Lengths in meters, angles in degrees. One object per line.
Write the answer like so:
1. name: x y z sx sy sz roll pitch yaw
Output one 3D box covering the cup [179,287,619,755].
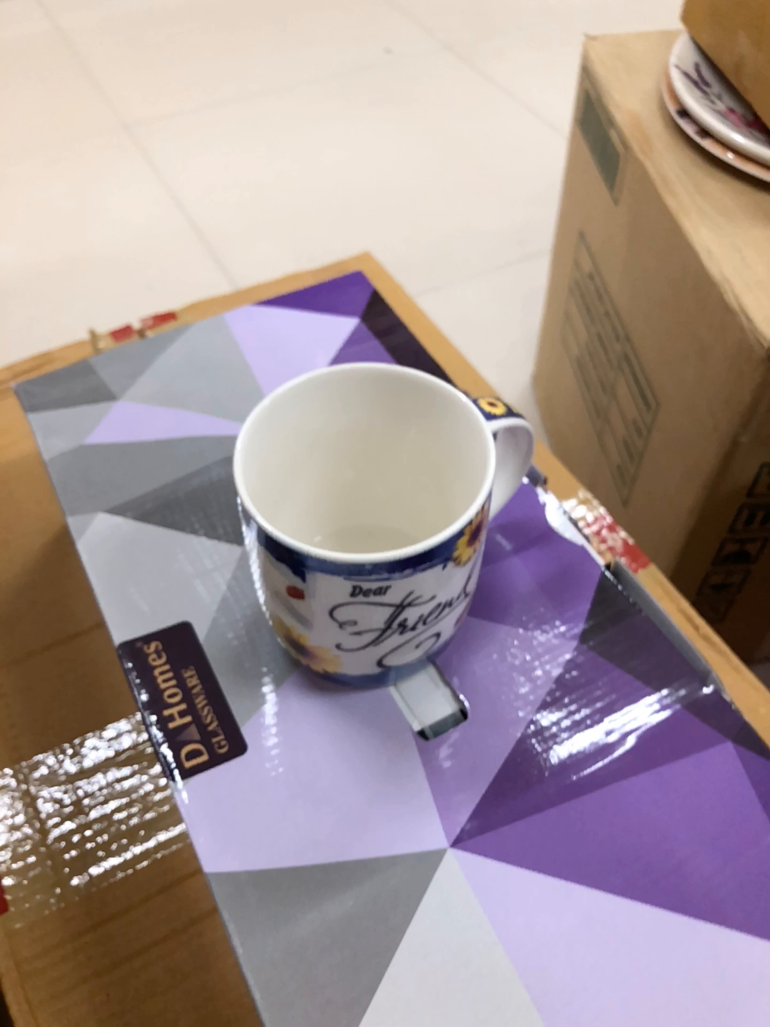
1. cup: 0.007 0.000 0.309 0.080 0.090 0.120 36 60 25
